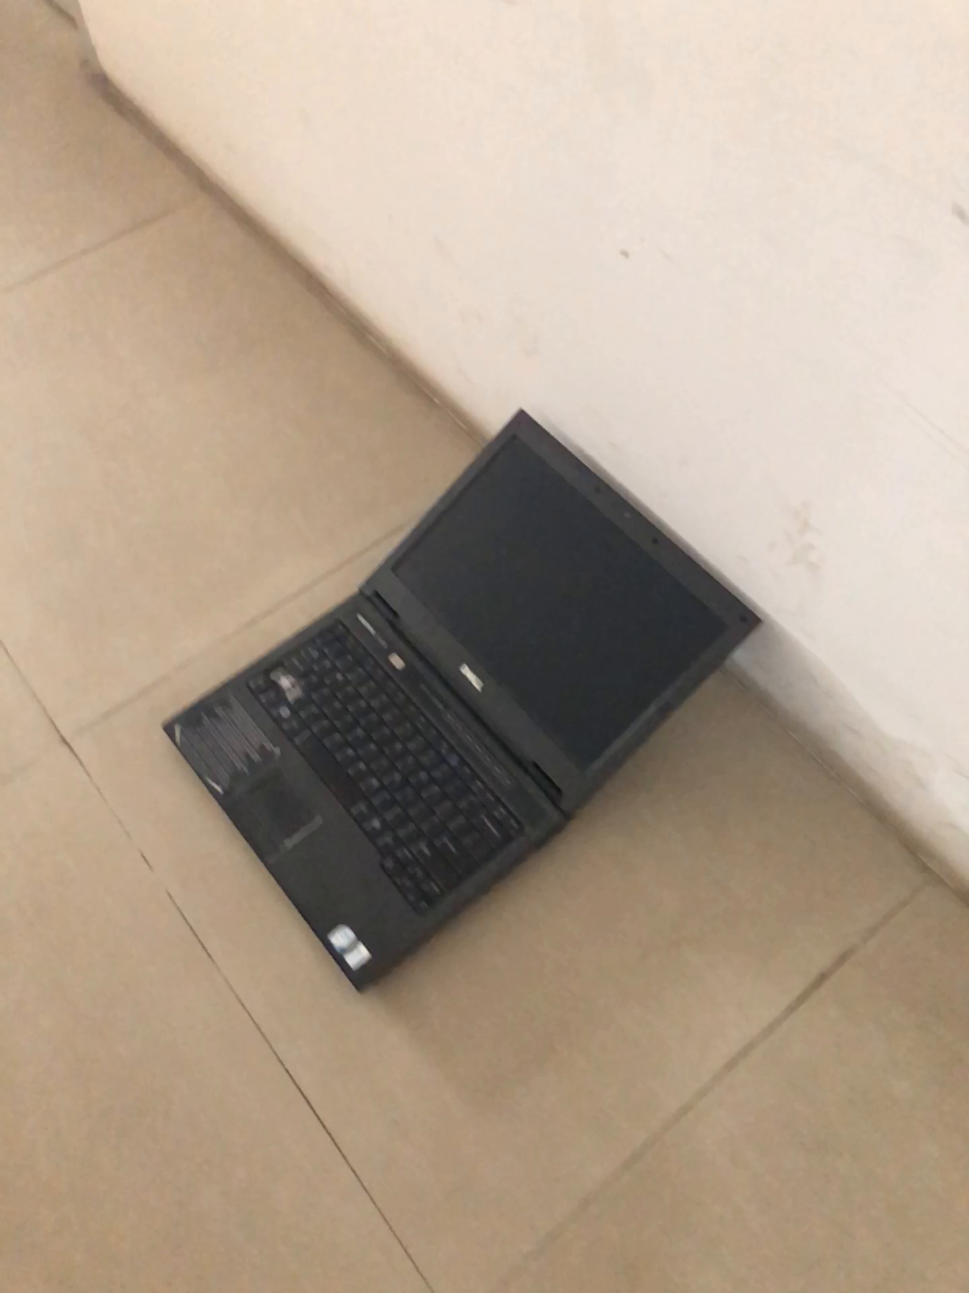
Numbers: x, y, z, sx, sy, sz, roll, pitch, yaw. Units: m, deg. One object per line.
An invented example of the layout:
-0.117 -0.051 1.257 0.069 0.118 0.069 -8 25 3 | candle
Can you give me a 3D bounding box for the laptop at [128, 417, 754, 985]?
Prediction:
-0.034 0.027 0.939 0.433 0.114 0.299 -36 64 -18 | laptop
